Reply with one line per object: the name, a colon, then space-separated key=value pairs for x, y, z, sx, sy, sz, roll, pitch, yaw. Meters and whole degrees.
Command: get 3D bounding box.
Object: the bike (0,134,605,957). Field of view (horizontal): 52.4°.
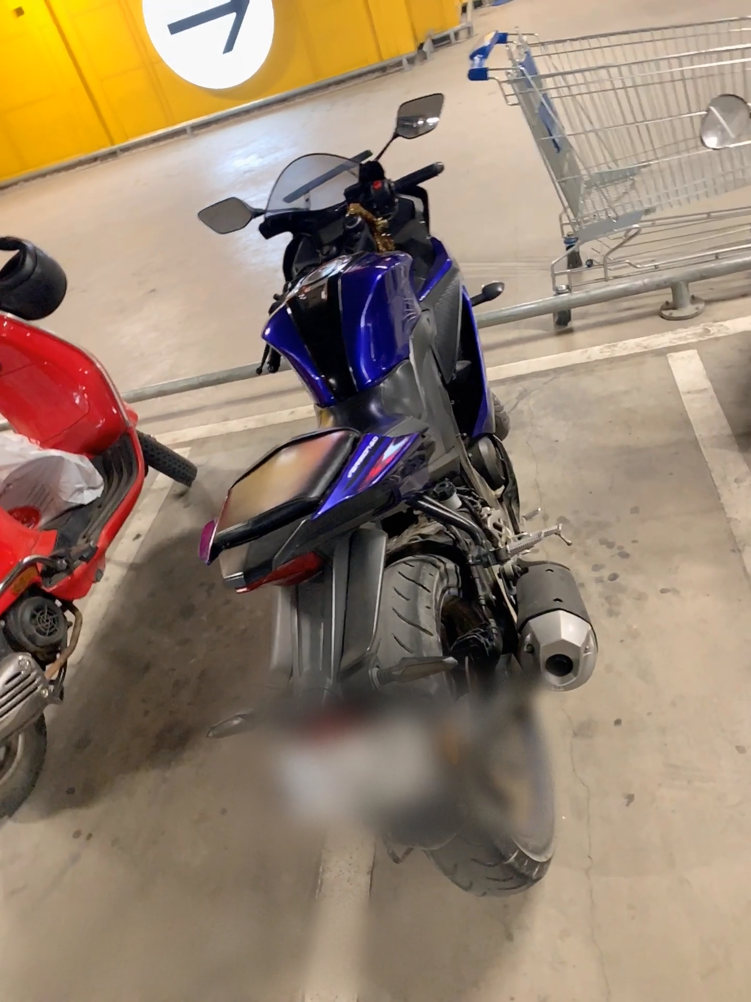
bike: x=-0.206 y=-0.058 z=1.772 sx=0.687 sy=0.933 sz=1.657 roll=-18 pitch=39 yaw=4
